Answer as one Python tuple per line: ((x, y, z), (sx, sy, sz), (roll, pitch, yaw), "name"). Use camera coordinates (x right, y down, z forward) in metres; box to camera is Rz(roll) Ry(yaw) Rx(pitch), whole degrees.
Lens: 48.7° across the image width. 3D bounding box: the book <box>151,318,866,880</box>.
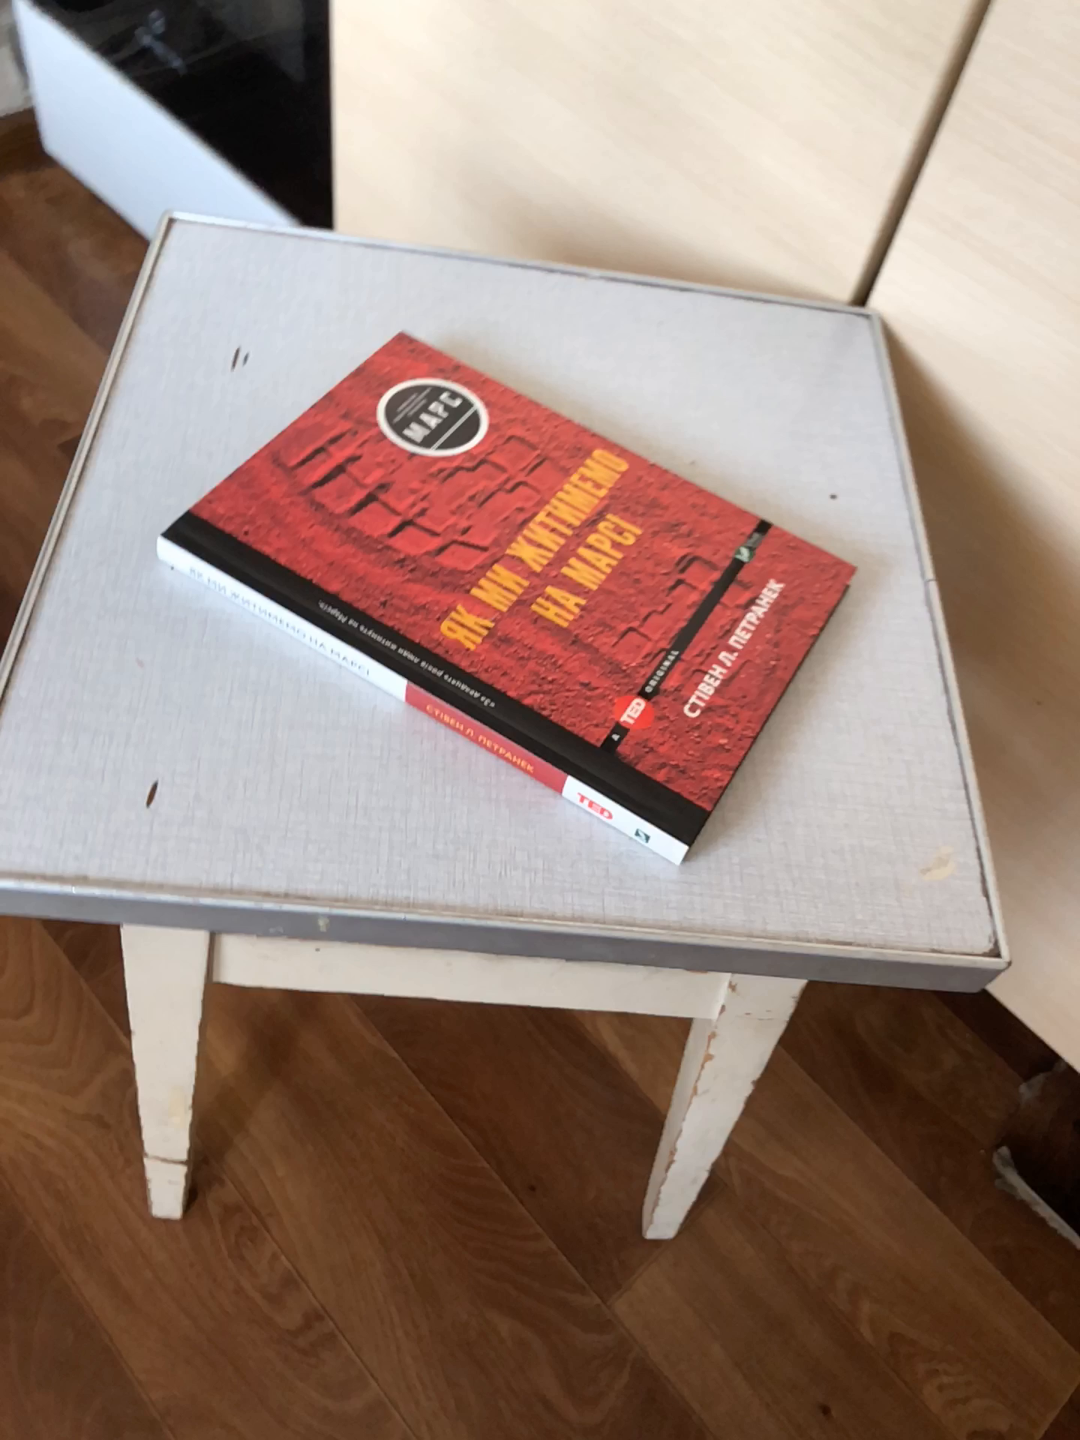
((-0.007, -0.056, 0.433), (0.208, 0.020, 0.151), (30, 57, 12), "book")
